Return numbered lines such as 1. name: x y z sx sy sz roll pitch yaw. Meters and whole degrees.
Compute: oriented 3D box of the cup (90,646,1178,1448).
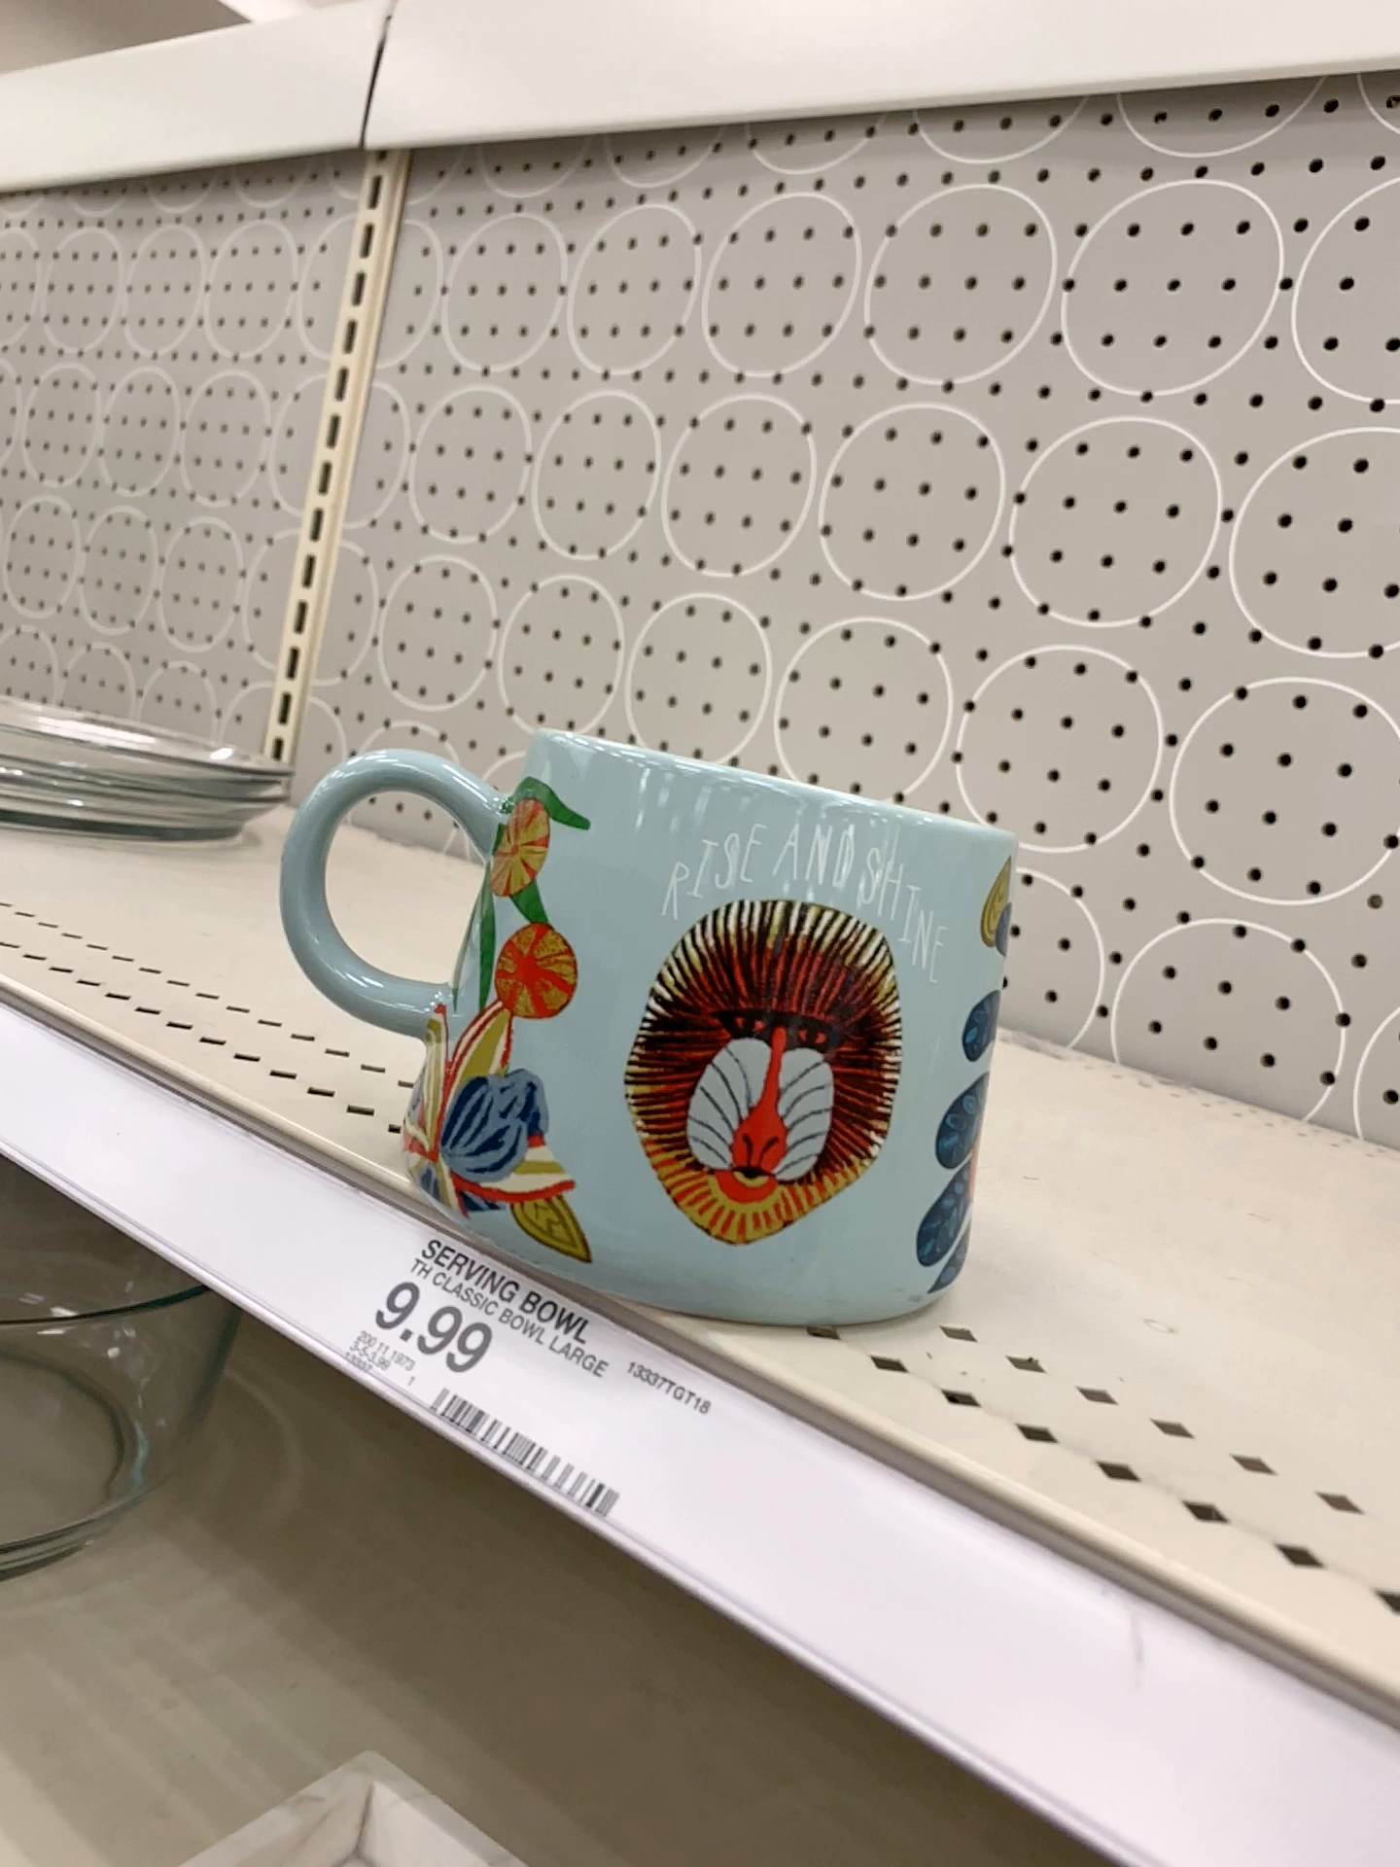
1. cup: -0.011 0.010 0.267 0.140 0.090 0.120 12 7 -2
